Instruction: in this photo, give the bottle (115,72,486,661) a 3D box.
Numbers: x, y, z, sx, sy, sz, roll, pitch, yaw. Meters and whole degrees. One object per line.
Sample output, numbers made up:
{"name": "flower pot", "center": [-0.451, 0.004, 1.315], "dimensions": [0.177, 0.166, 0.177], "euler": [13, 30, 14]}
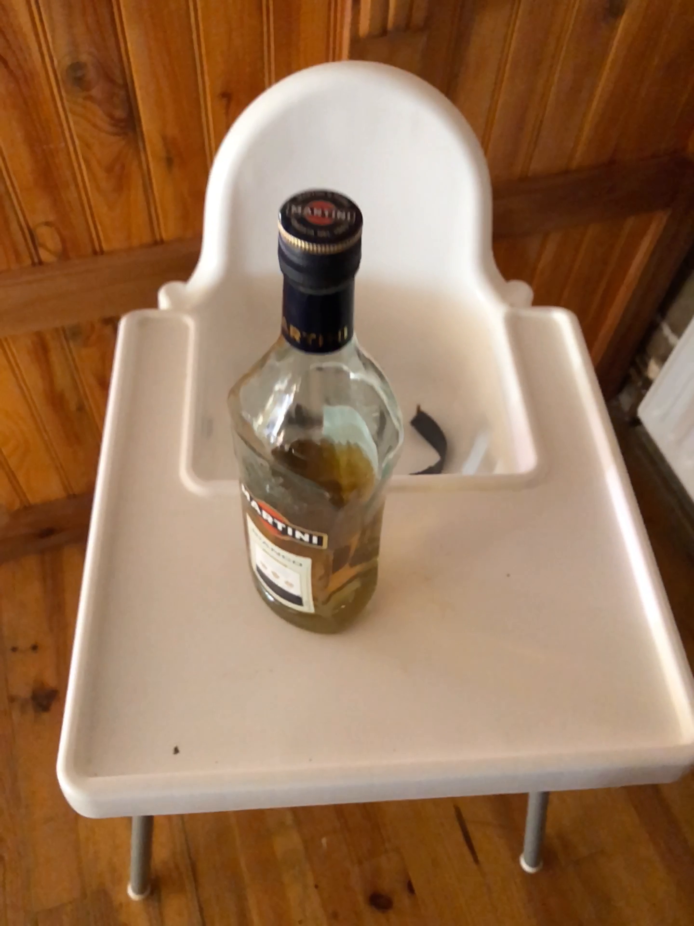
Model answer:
{"name": "bottle", "center": [-0.025, -0.016, 0.410], "dimensions": [0.110, 0.318, 0.080], "euler": [39, 62, 21]}
